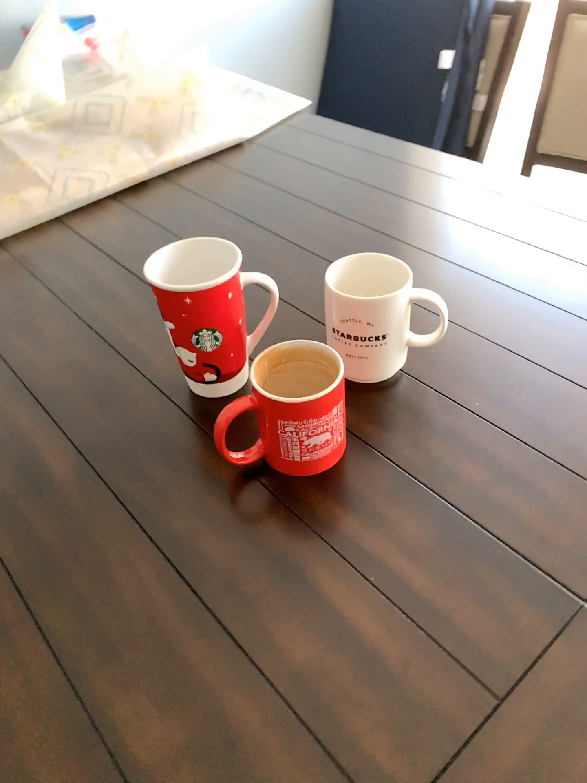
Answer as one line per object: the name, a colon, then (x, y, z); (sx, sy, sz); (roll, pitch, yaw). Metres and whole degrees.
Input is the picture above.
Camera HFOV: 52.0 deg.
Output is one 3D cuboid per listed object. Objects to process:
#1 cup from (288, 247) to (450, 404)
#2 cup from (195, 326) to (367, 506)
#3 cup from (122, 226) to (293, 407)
cup: (0.081, -0.072, 0.631); (0.140, 0.109, 0.100); (9, 45, 16)
cup: (-0.009, 0.020, 0.537); (0.120, 0.090, 0.090); (-20, 44, -15)
cup: (-0.077, -0.074, 0.613); (0.140, 0.139, 0.100); (-4, 43, 2)
